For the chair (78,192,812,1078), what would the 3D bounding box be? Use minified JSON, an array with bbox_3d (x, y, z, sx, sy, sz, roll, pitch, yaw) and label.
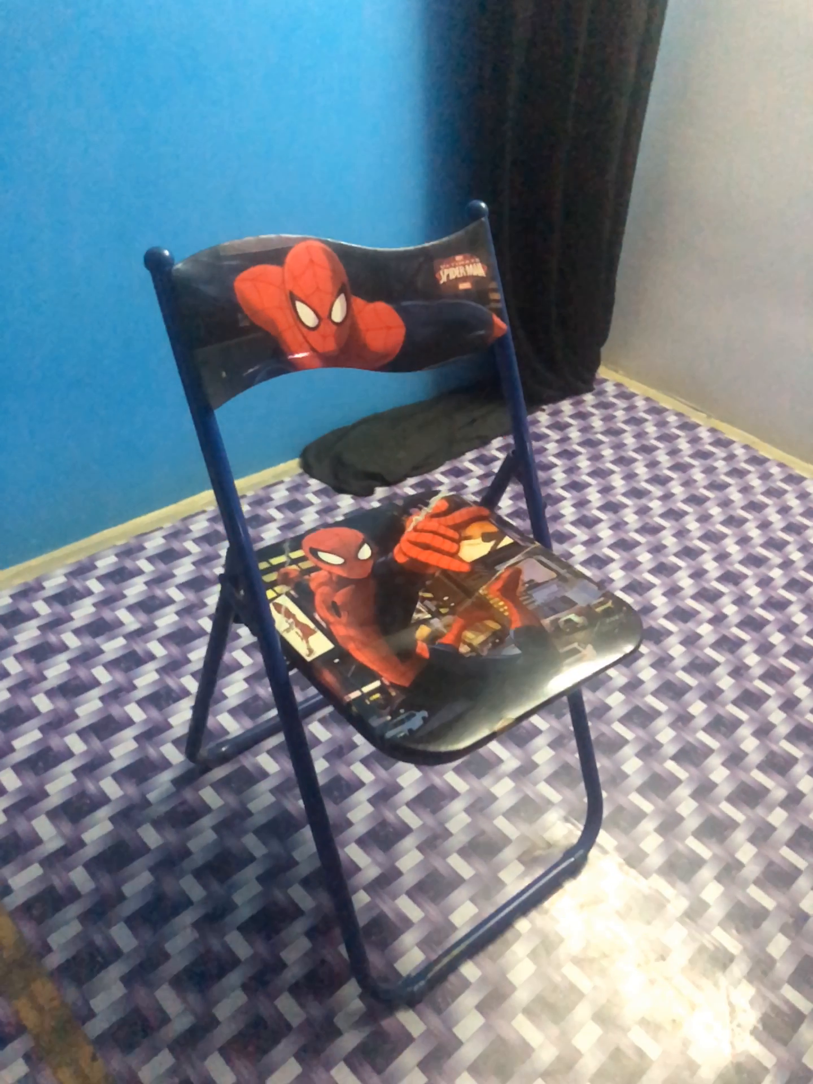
[{"bbox_3d":[0.026,0.051,1.027,0.512,0.686,0.561,-23,46,-37],"label":"chair"}]
